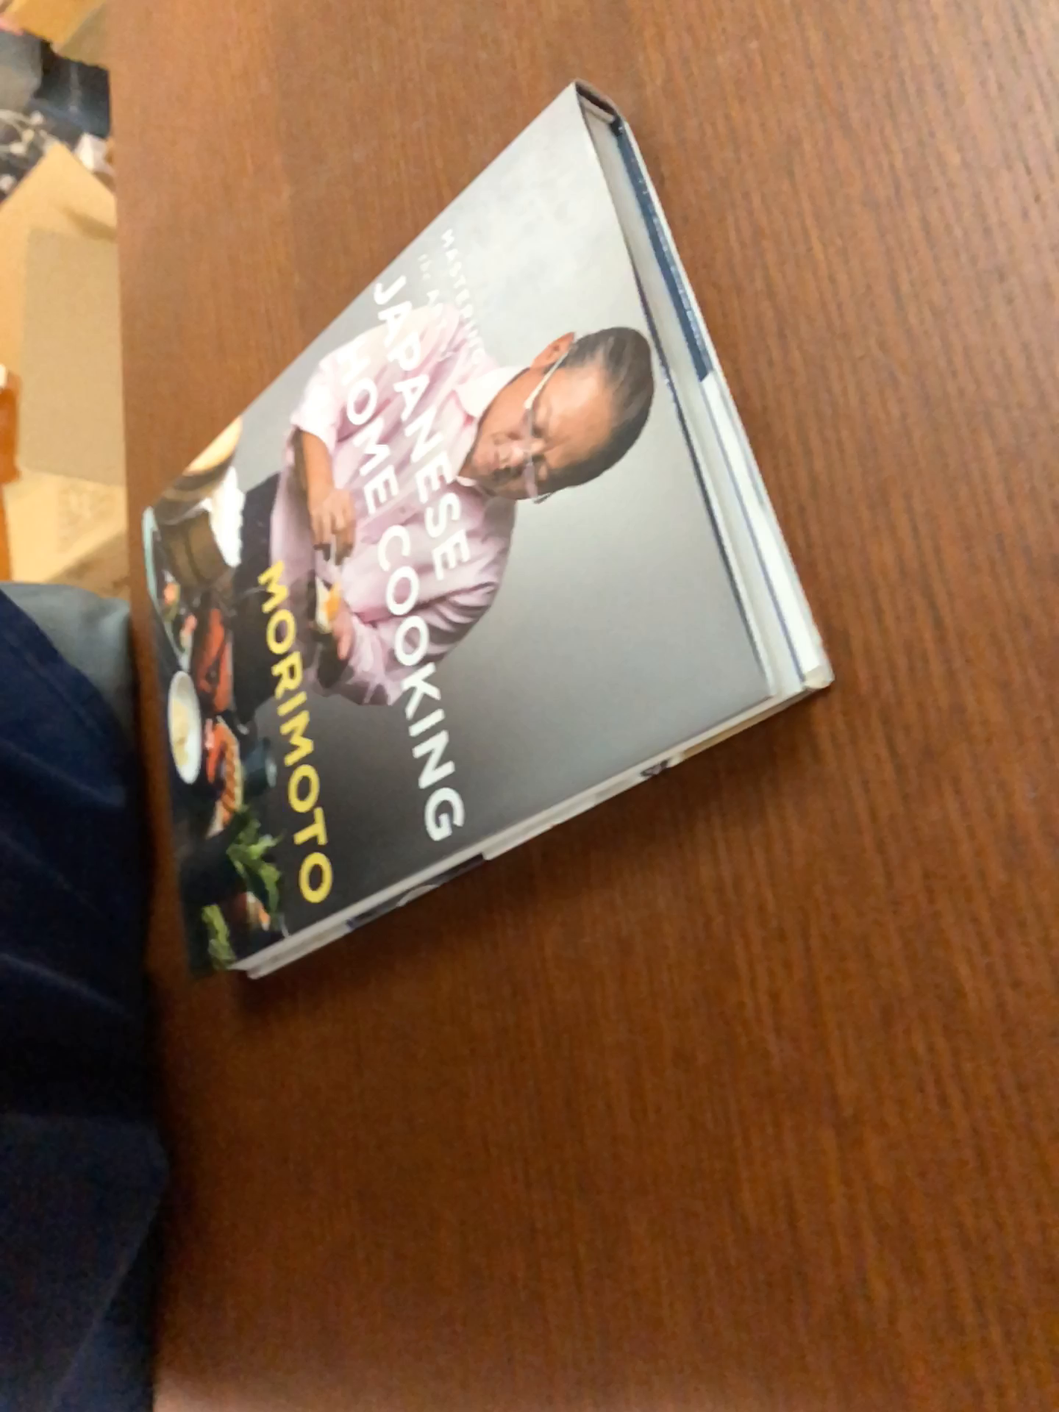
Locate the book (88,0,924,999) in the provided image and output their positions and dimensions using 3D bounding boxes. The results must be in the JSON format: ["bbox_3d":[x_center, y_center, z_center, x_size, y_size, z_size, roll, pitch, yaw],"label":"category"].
[{"bbox_3d":[-0.050,-0.054,0.383,0.301,0.030,0.220,-30,62,36],"label":"book"}]
